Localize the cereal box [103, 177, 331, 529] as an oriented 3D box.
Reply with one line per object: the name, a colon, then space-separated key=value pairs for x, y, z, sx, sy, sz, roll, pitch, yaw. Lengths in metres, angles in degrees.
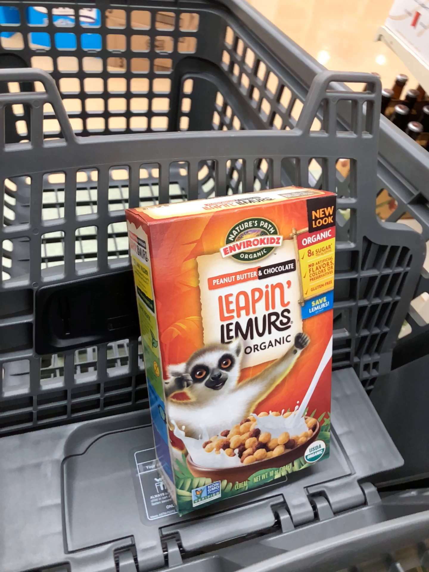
cereal box: x=0.011 y=0.051 z=0.406 sx=0.160 sy=0.260 sz=0.070 roll=-12 pitch=21 yaw=-21
